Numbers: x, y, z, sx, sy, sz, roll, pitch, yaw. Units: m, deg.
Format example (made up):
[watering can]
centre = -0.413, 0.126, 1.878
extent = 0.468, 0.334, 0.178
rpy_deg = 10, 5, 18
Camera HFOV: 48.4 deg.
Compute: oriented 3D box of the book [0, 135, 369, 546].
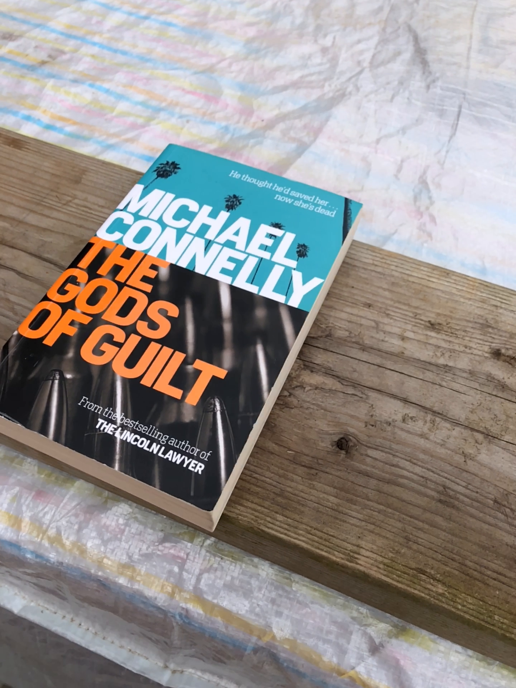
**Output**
[book]
centre = -0.041, -0.020, 0.312
extent = 0.140, 0.040, 0.201
rpy_deg = 21, 59, 12
